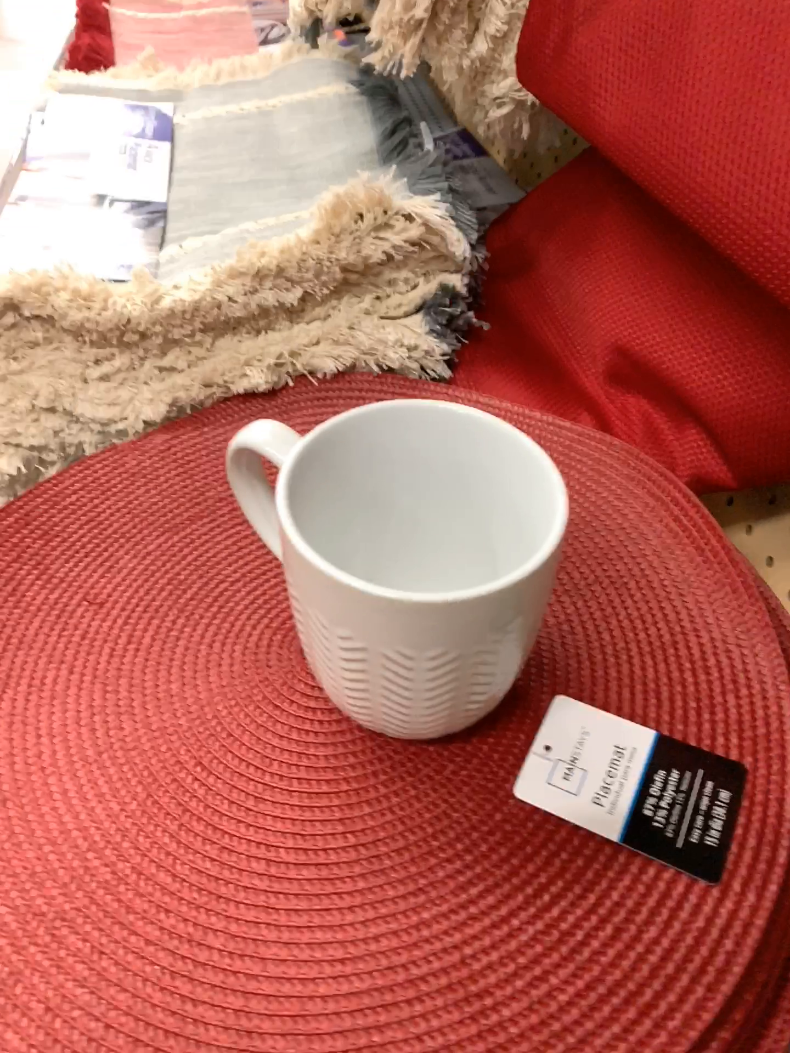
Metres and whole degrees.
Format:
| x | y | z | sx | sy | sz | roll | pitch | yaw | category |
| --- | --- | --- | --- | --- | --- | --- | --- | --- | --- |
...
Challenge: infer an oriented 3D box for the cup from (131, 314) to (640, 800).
| x | y | z | sx | sy | sz | roll | pitch | yaw | category |
| --- | --- | --- | --- | --- | --- | --- | --- | --- | --- |
| -0.007 | 0.000 | 0.297 | 0.140 | 0.090 | 0.100 | 29 | 39 | 23 | cup |
